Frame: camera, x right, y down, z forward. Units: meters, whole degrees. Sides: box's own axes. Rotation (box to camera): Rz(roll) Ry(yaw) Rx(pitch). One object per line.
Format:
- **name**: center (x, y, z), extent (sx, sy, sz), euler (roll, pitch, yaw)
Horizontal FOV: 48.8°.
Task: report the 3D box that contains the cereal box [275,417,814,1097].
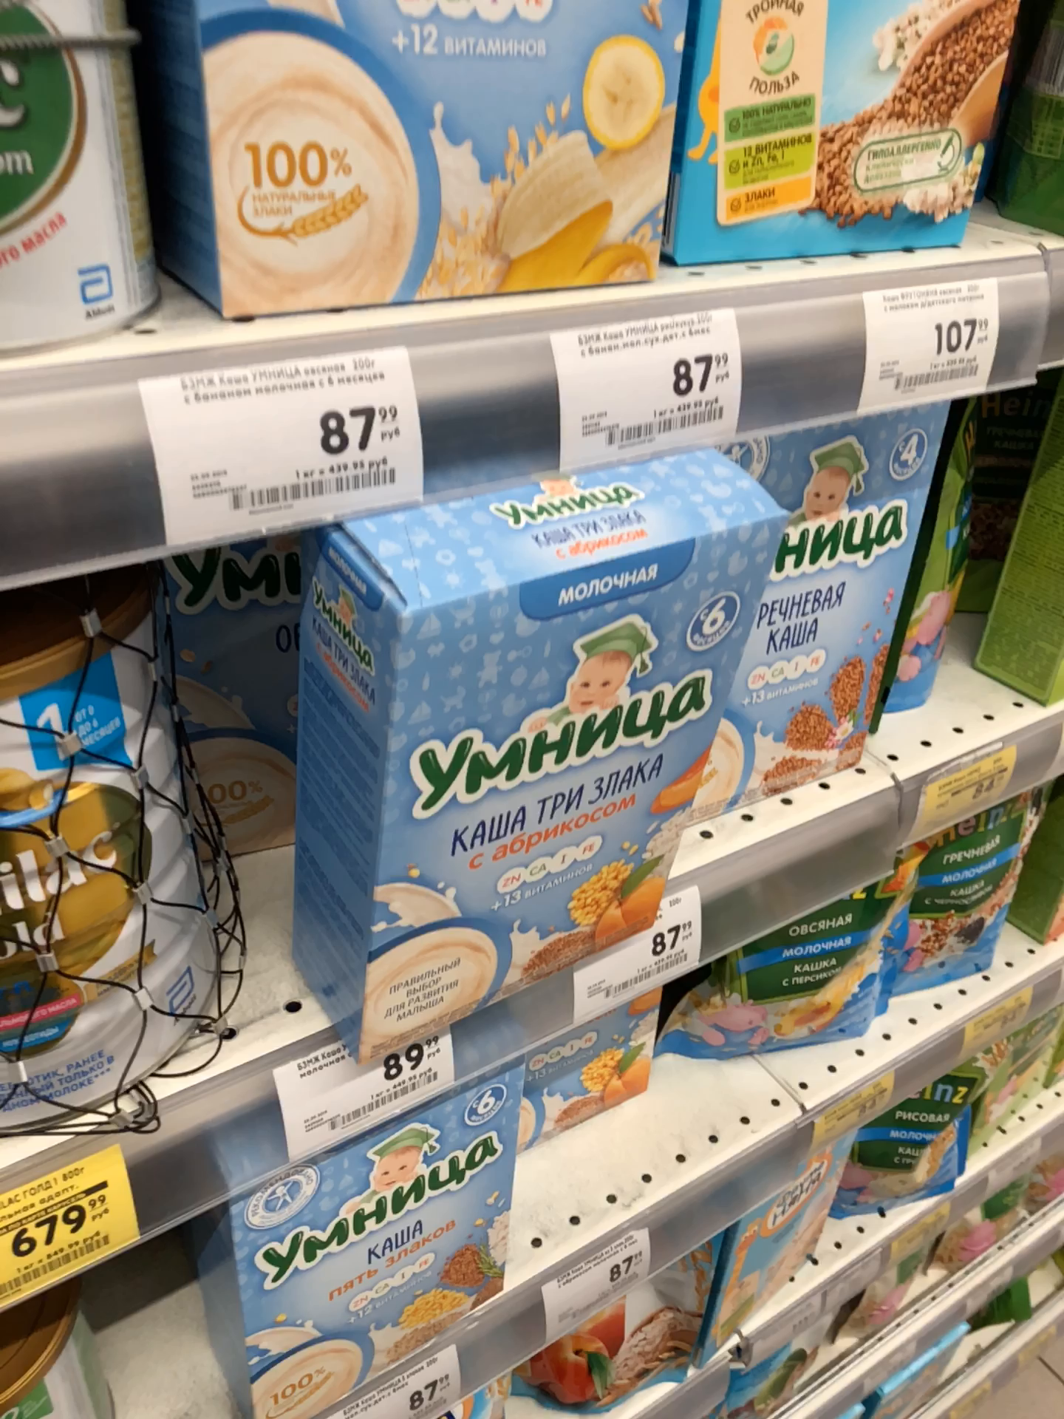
- **cereal box**: center (-0.007, 0.020, 0.396), extent (0.140, 0.209, 0.060), euler (-17, 47, -31)
